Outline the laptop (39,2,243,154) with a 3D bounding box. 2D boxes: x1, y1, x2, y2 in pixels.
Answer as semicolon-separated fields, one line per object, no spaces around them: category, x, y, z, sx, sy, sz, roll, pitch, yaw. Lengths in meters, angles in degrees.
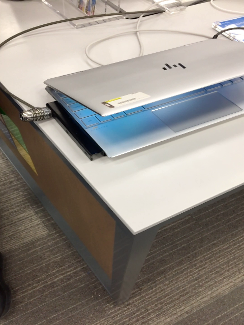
laptop;0.081;-0.138;0.482;0.321;0.080;0.179;-21;55;-14
